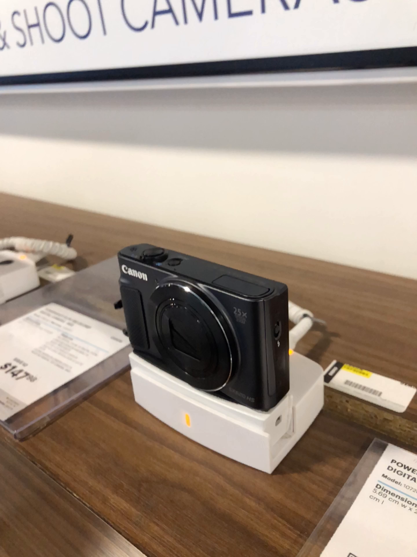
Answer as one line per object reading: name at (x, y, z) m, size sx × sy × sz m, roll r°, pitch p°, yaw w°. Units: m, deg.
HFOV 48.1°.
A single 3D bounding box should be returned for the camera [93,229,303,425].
camera at (-0.008, 0.017, 0.222) m, size 0.100 × 0.060 × 0.030 m, roll 16°, pitch 30°, yaw 38°
